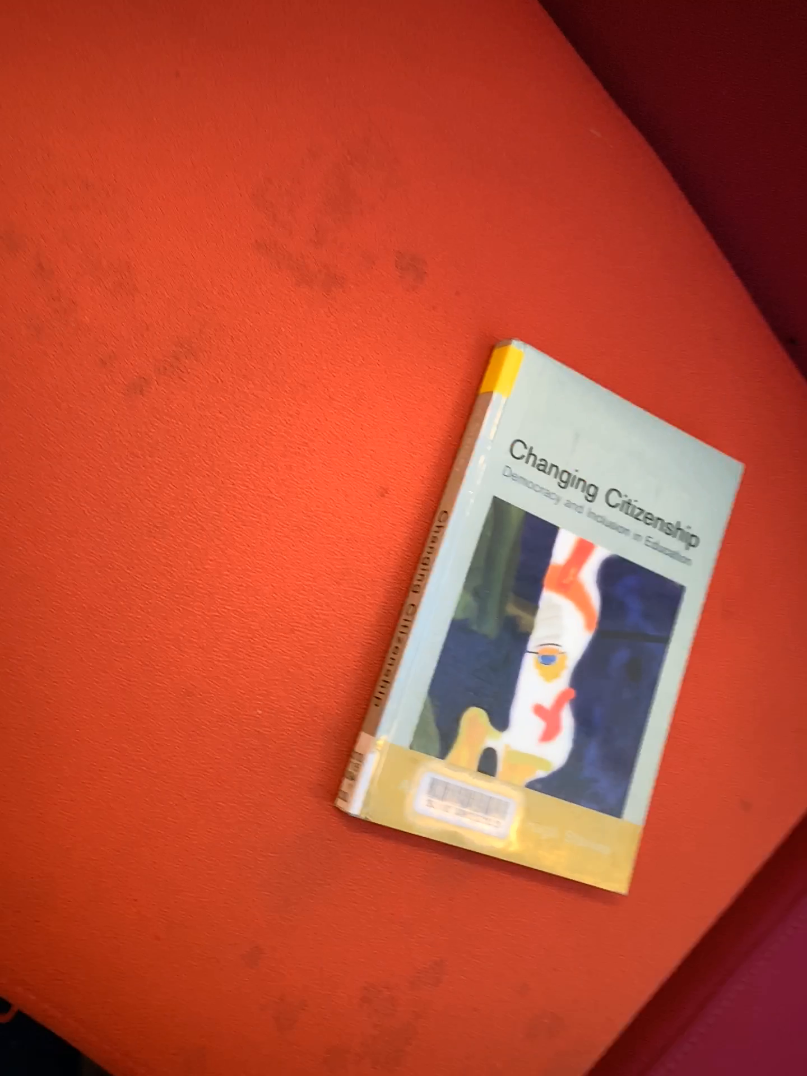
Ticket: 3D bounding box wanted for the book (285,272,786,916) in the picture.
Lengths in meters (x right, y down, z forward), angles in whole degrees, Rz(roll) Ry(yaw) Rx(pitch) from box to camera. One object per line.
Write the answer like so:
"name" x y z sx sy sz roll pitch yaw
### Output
"book" 0.075 0.030 0.403 0.180 0.040 0.250 24 79 -21
